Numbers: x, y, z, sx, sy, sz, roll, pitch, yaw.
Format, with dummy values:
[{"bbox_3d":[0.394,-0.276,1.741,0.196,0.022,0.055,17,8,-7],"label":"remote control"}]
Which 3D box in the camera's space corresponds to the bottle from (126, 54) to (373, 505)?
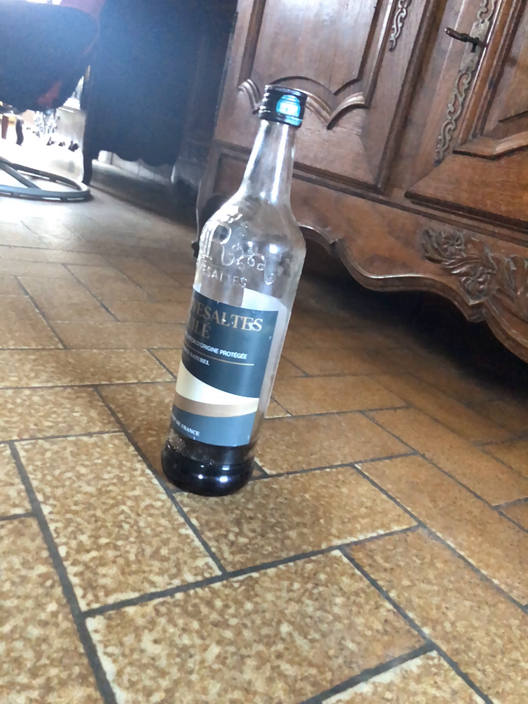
[{"bbox_3d":[-0.019,-0.048,0.440,0.090,0.299,0.091,12,18,-4],"label":"bottle"}]
